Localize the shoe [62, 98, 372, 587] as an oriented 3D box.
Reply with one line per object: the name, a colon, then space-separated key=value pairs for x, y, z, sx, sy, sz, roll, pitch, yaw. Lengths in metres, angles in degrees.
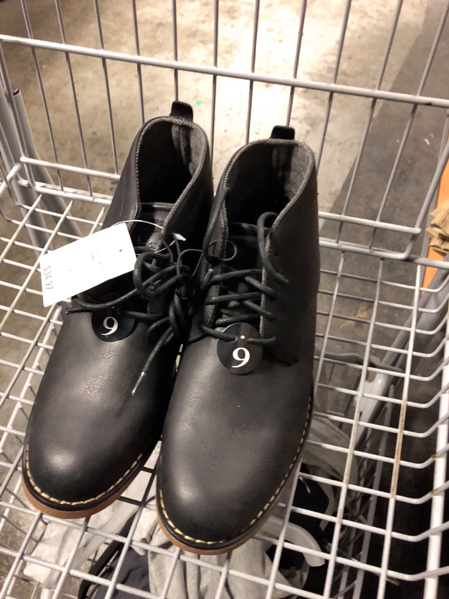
shoe: x=0.016 y=0.033 z=0.354 sx=0.100 sy=0.199 sz=0.272 roll=13 pitch=58 yaw=8

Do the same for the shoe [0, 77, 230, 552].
shoe: x=-0.078 y=0.014 z=0.355 sx=0.100 sy=0.199 sz=0.261 roll=13 pitch=58 yaw=8
